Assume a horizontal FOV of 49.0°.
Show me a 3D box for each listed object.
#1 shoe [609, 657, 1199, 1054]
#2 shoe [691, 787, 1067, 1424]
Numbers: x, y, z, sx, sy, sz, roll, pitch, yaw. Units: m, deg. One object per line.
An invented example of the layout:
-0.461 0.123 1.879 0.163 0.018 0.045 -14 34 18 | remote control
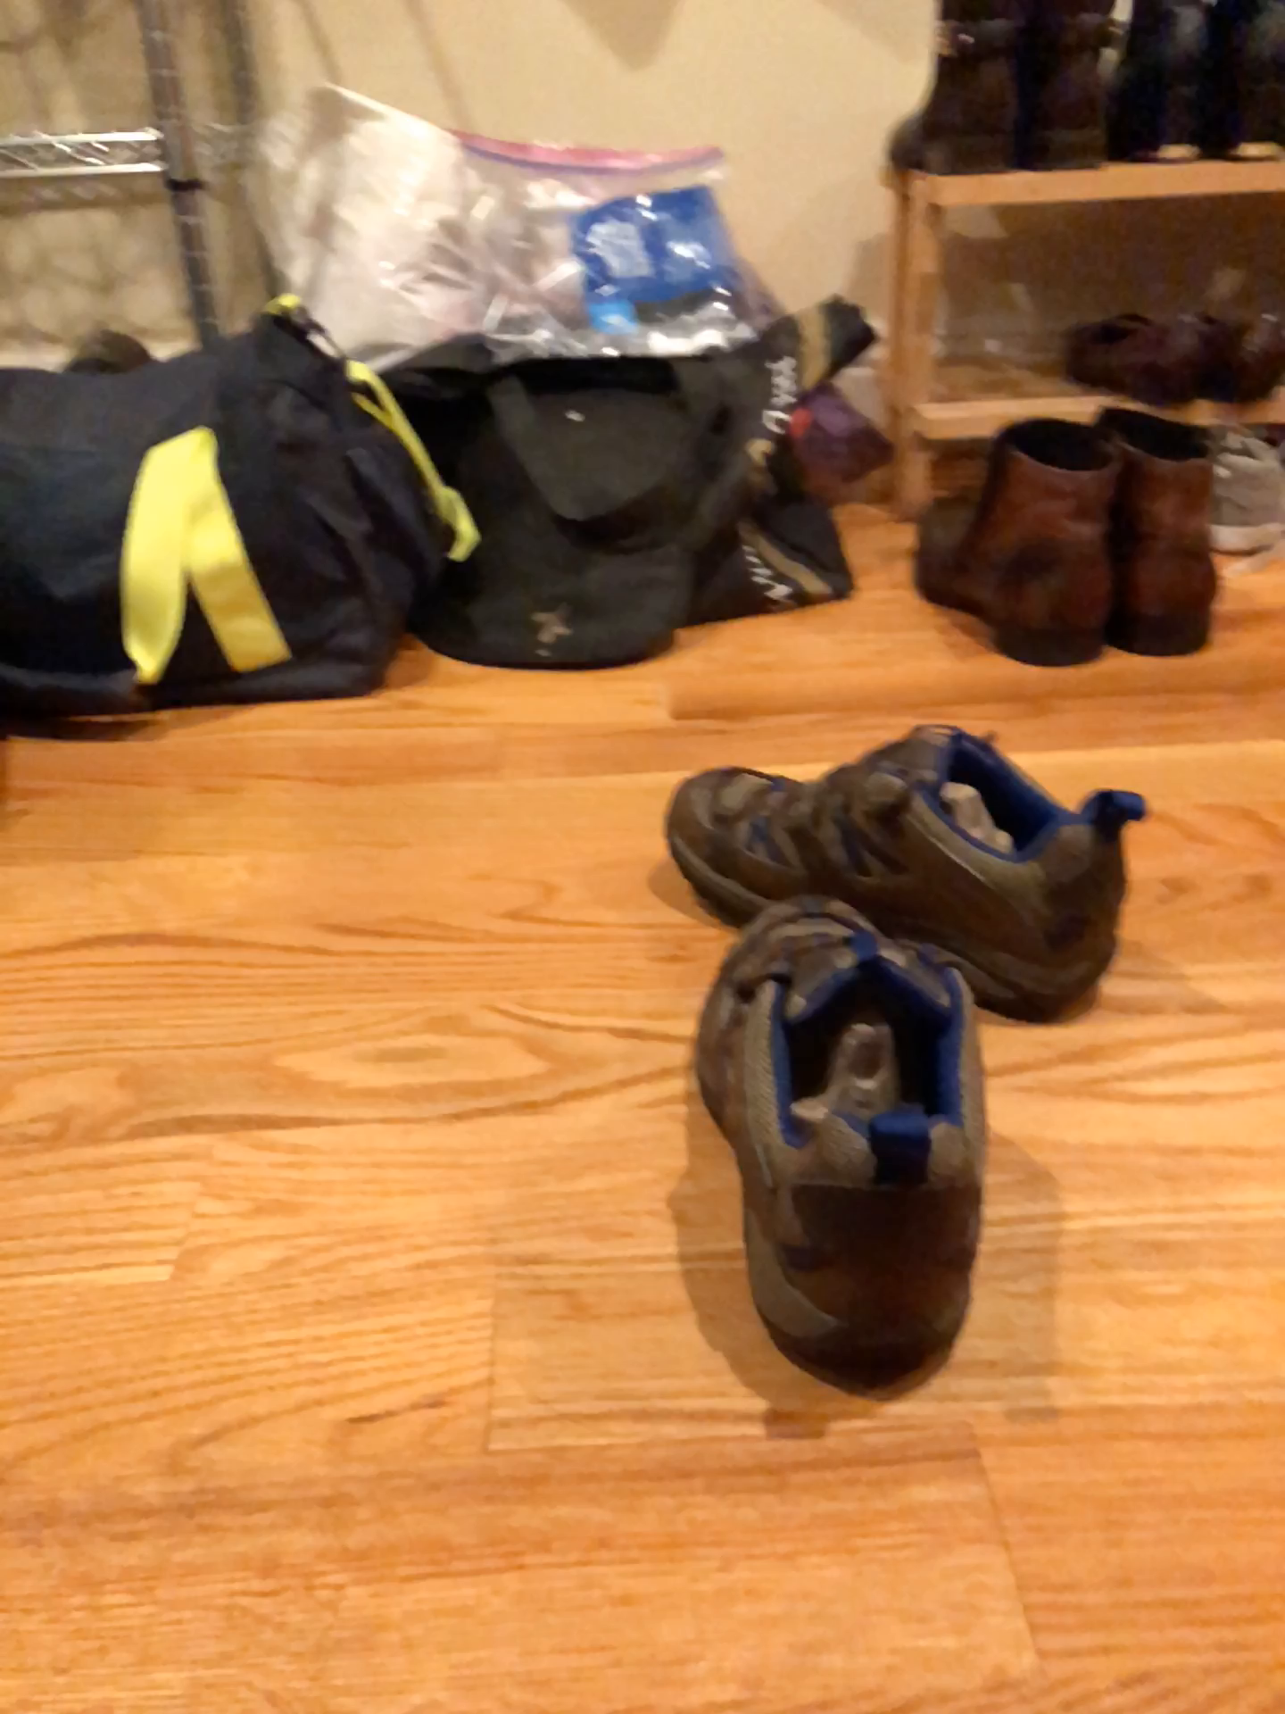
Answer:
0.114 -0.012 0.670 0.252 0.094 0.097 19 35 34 | shoe
0.073 0.075 0.532 0.094 0.106 0.241 -2 28 0 | shoe
